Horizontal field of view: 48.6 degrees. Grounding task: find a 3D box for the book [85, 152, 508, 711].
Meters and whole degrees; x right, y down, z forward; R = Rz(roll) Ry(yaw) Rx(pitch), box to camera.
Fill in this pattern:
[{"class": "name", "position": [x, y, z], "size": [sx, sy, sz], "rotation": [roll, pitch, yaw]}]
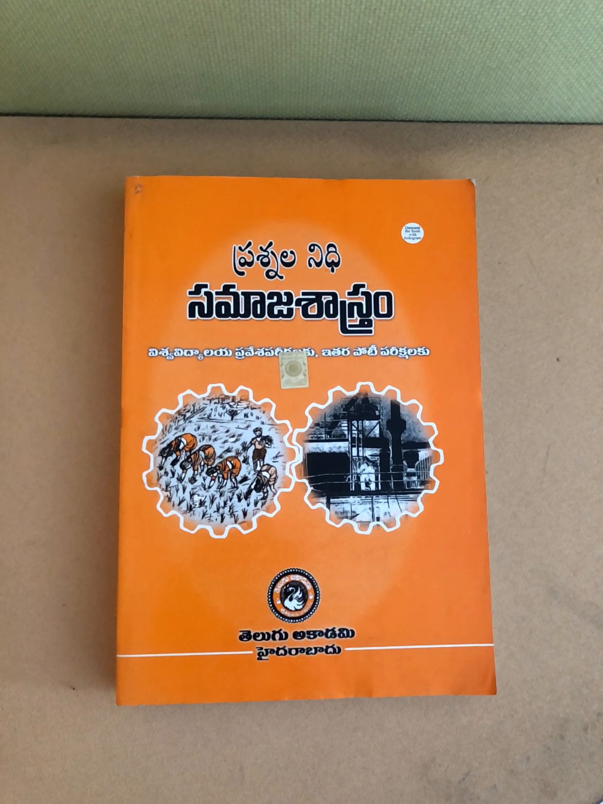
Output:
[{"class": "book", "position": [-0.004, 0.010, 0.375], "size": [0.210, 0.050, 0.290], "rotation": [0, 82, -3]}]
